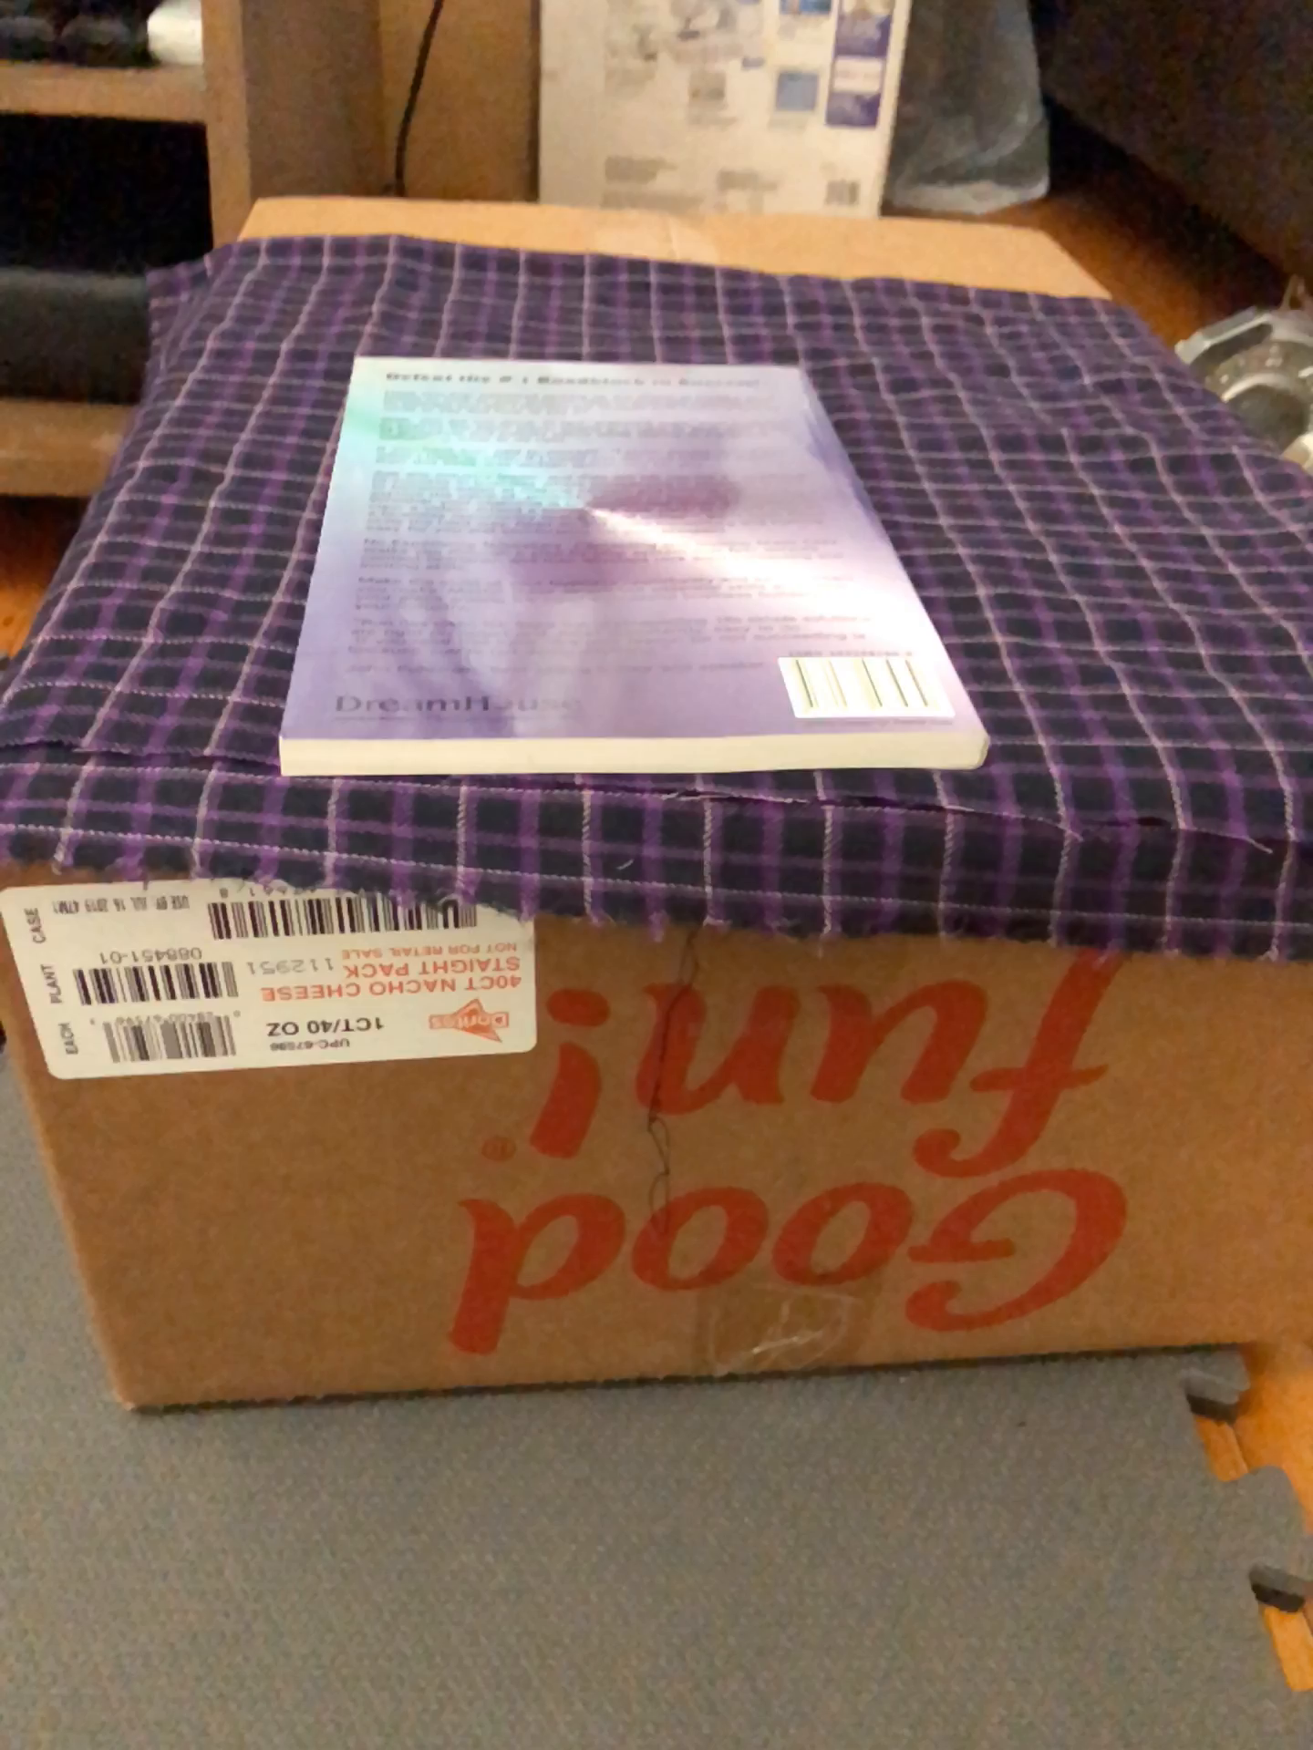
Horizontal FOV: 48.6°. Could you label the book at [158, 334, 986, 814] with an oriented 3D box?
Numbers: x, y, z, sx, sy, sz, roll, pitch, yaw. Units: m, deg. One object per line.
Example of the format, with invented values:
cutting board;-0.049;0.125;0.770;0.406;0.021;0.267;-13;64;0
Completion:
book;-0.025;-0.090;0.373;0.160;0.020;0.221;-1;39;-6
